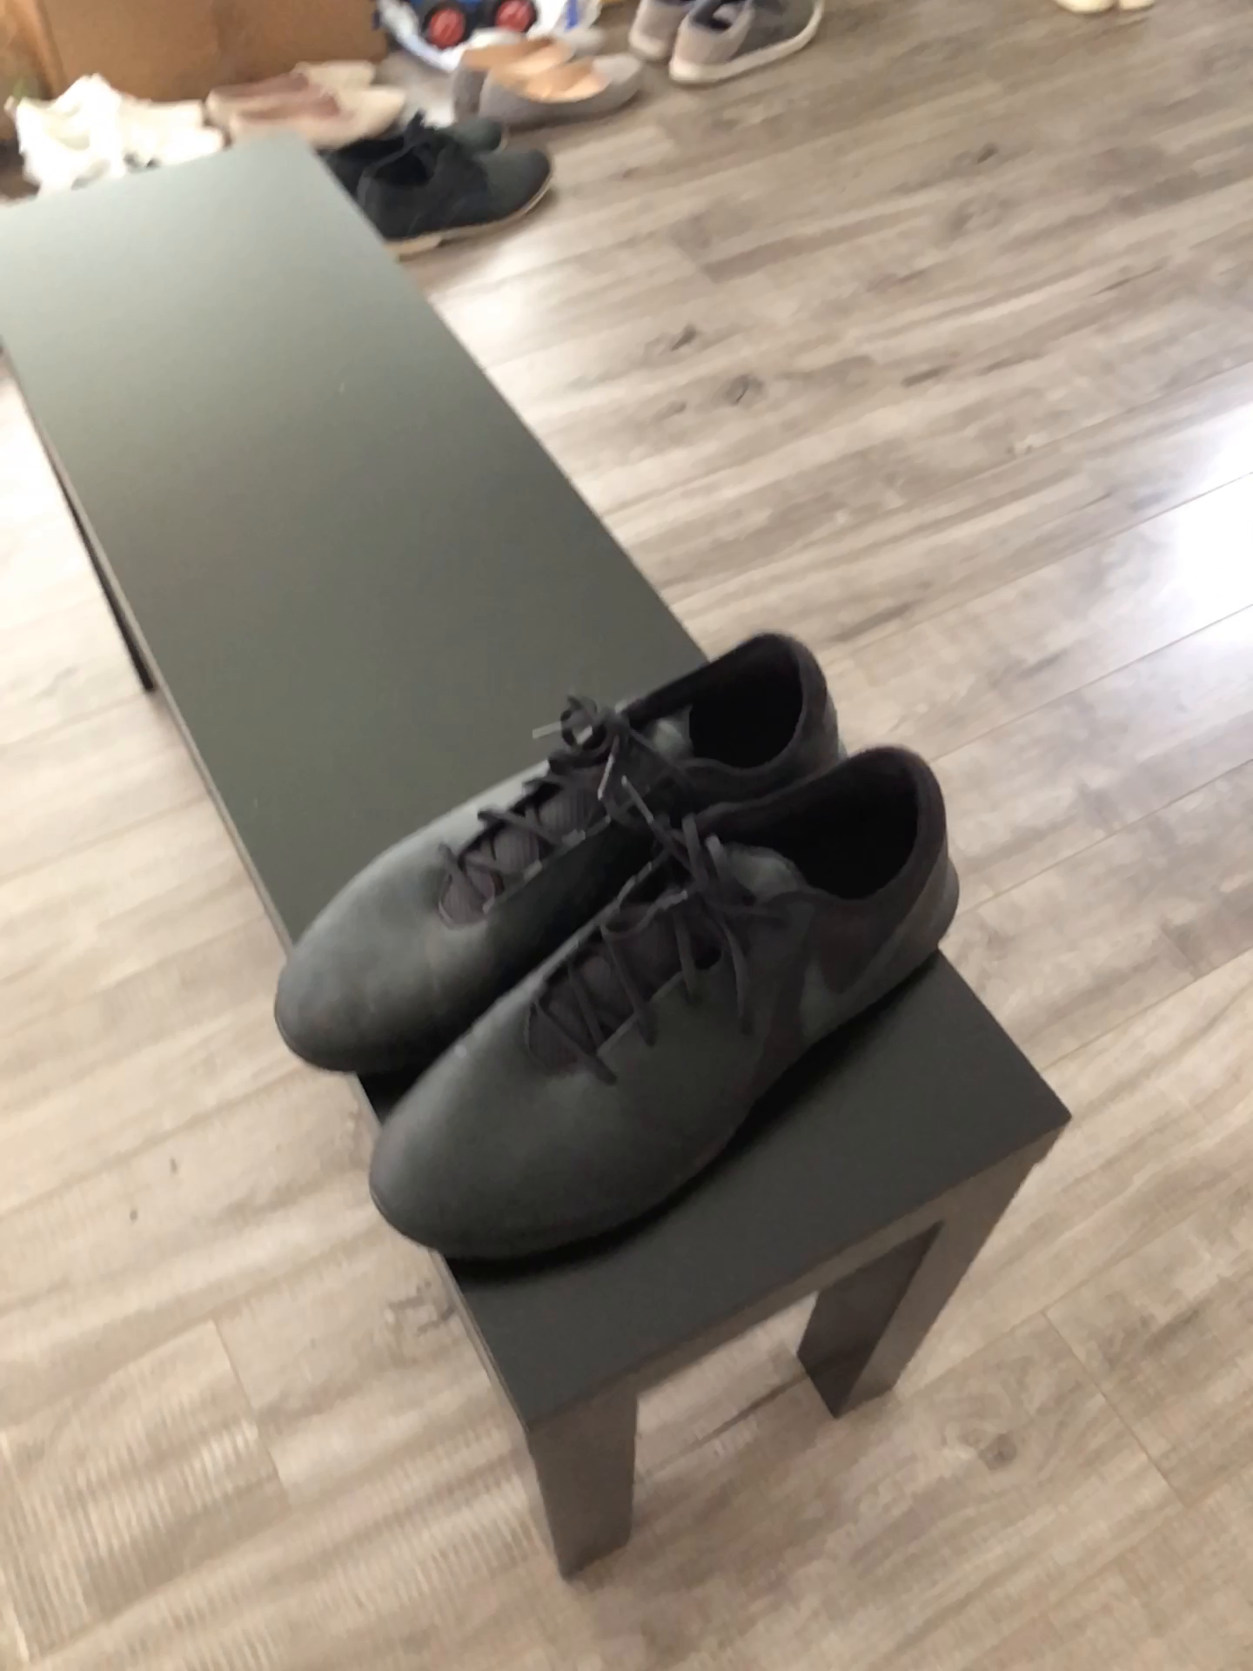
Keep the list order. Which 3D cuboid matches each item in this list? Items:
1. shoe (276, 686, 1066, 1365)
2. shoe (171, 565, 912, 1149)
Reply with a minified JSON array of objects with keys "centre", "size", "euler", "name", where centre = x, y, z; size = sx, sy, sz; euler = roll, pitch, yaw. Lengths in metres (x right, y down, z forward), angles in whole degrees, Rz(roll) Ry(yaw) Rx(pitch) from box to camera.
[{"centre":[0.024,0.070,0.558],"size":[0.293,0.110,0.100],"euler":[-30,60,-20],"name":"shoe"},{"centre":[-0.030,0.004,0.609],"size":[0.293,0.110,0.100],"euler":[-27,59,-18],"name":"shoe"}]
